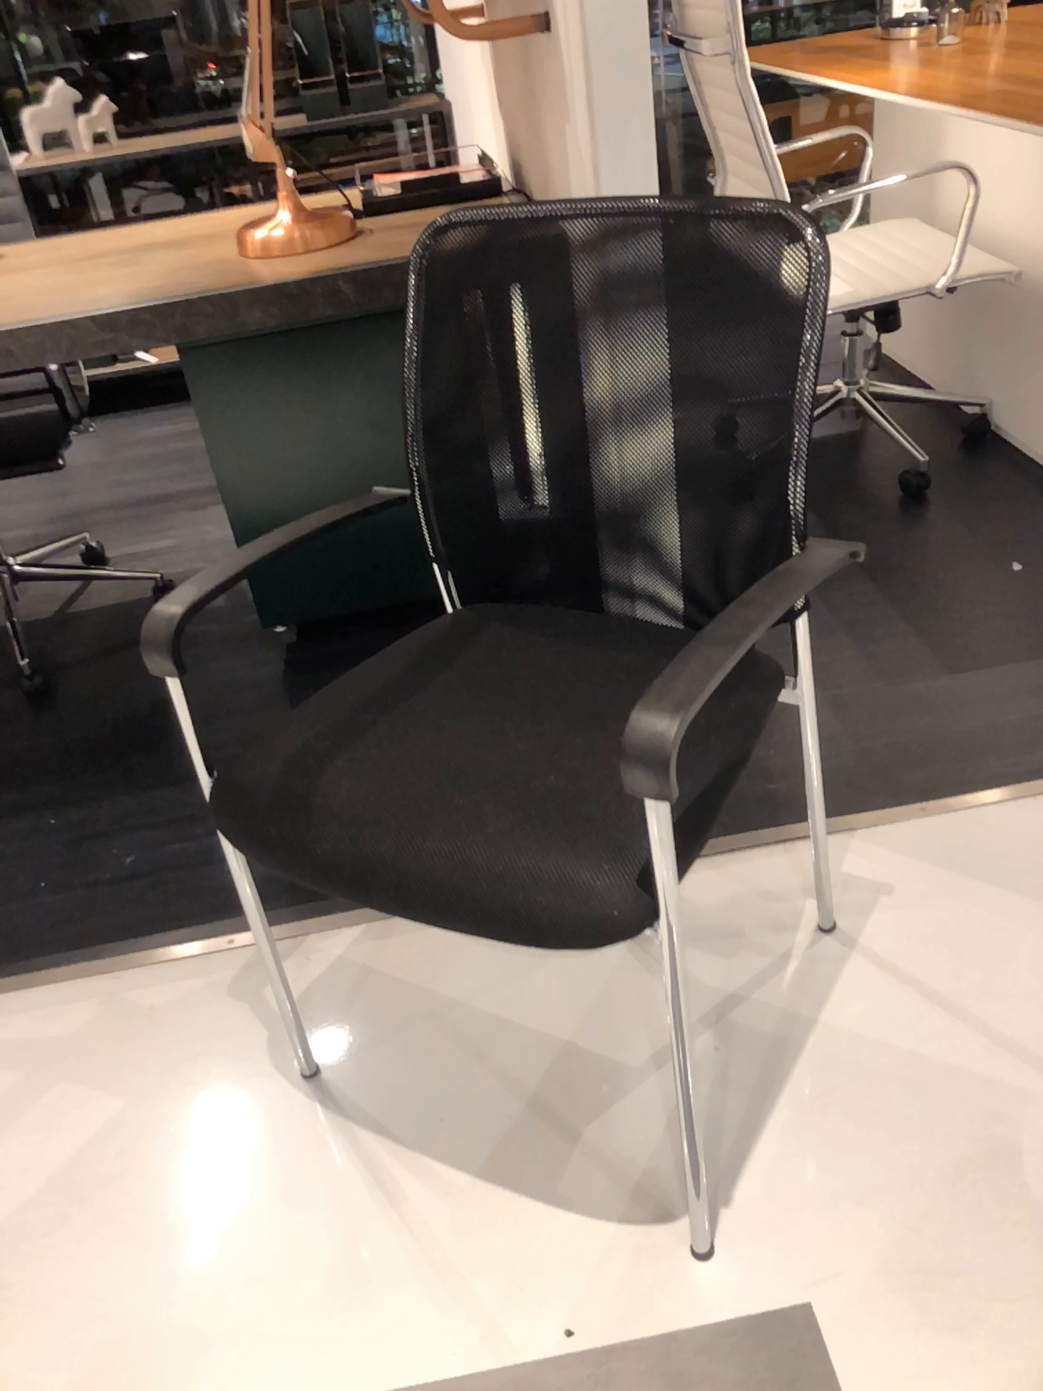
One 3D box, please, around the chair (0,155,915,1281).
[{"bbox_3d":[0.004,-0.007,1.148,0.591,0.863,0.513,12,38,29],"label":"chair"}]
